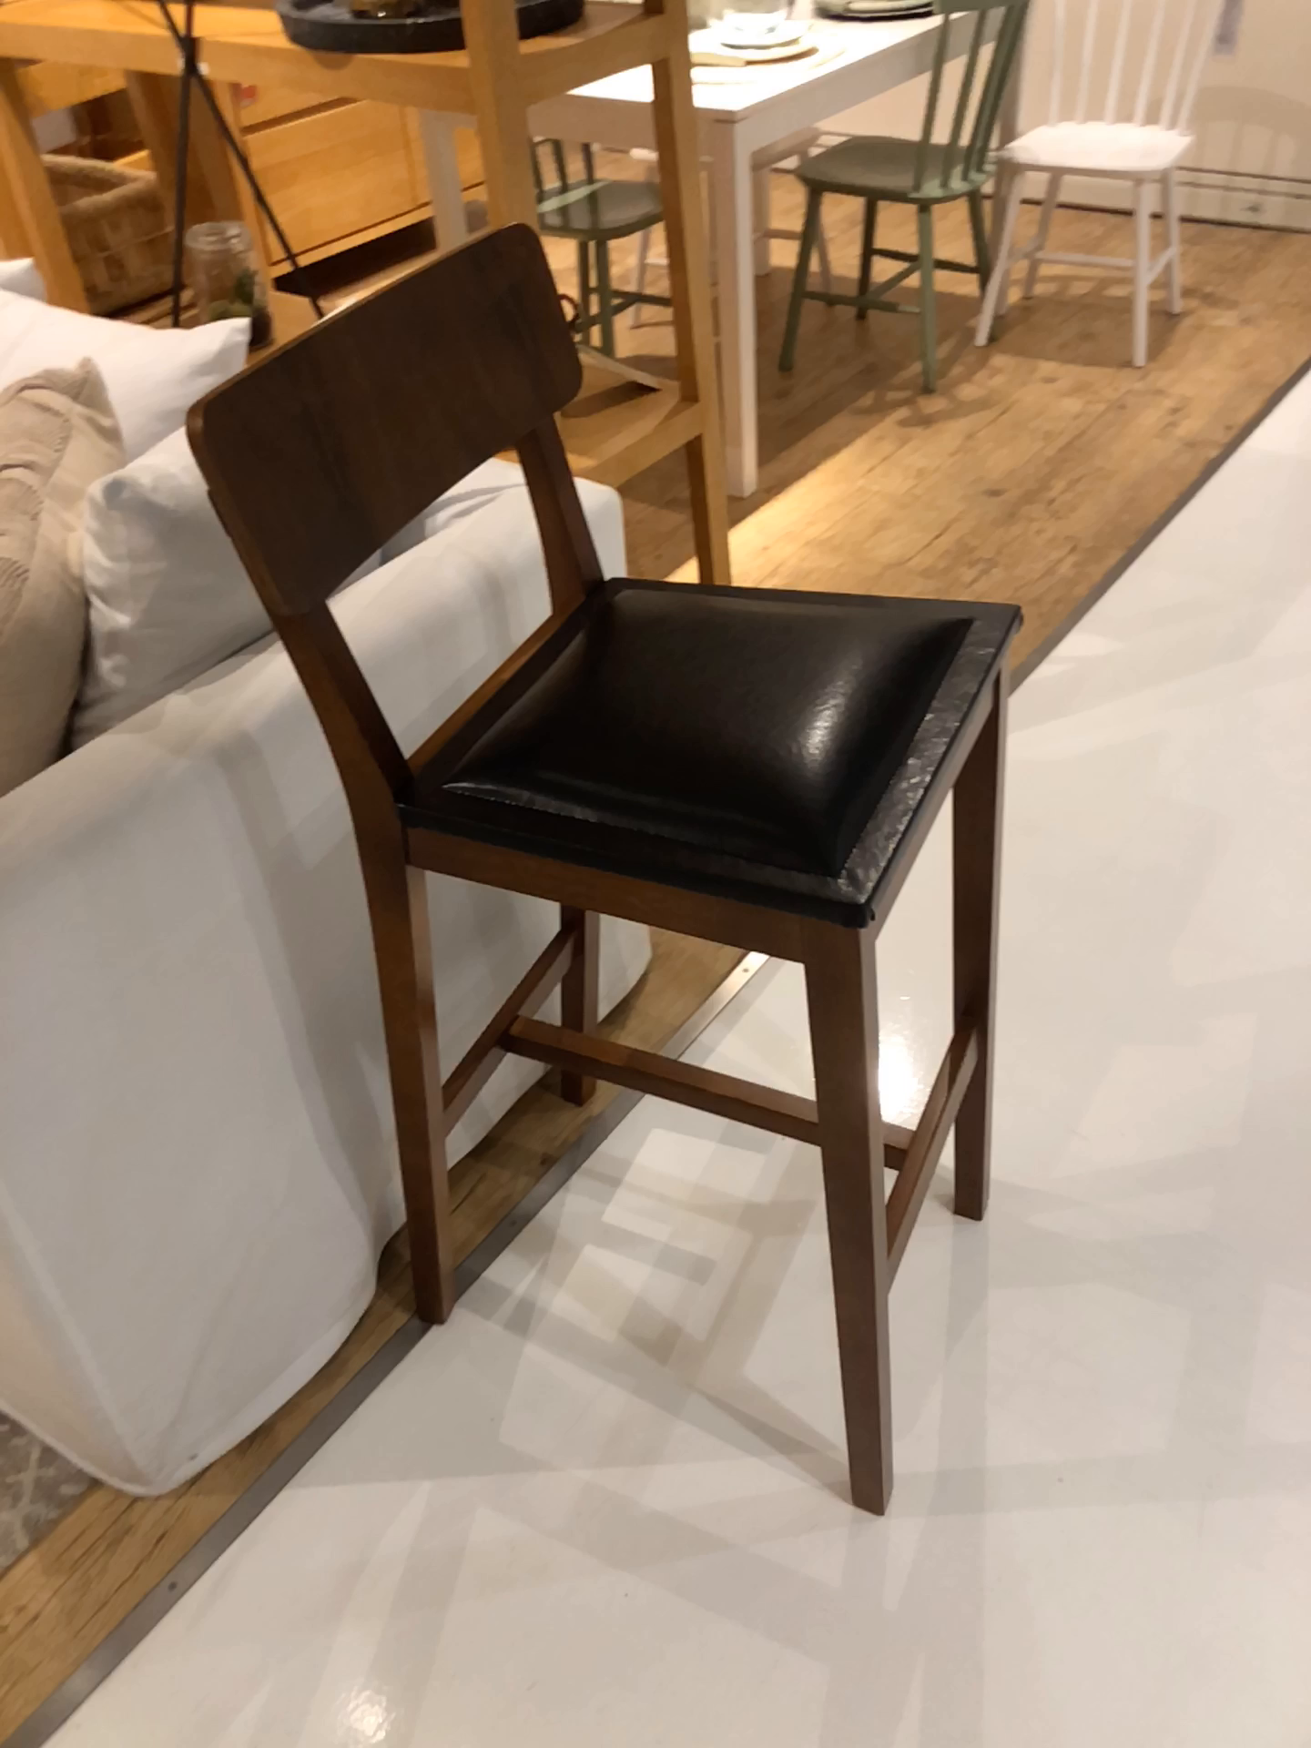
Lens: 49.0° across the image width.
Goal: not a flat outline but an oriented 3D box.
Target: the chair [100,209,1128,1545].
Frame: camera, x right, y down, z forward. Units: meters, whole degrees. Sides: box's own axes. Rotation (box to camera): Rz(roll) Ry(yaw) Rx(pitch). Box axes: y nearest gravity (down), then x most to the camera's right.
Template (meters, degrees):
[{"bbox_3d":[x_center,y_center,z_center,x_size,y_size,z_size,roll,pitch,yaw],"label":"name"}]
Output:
[{"bbox_3d":[0.024,0.034,1.248,0.531,1.002,0.443,13,42,21],"label":"chair"}]
